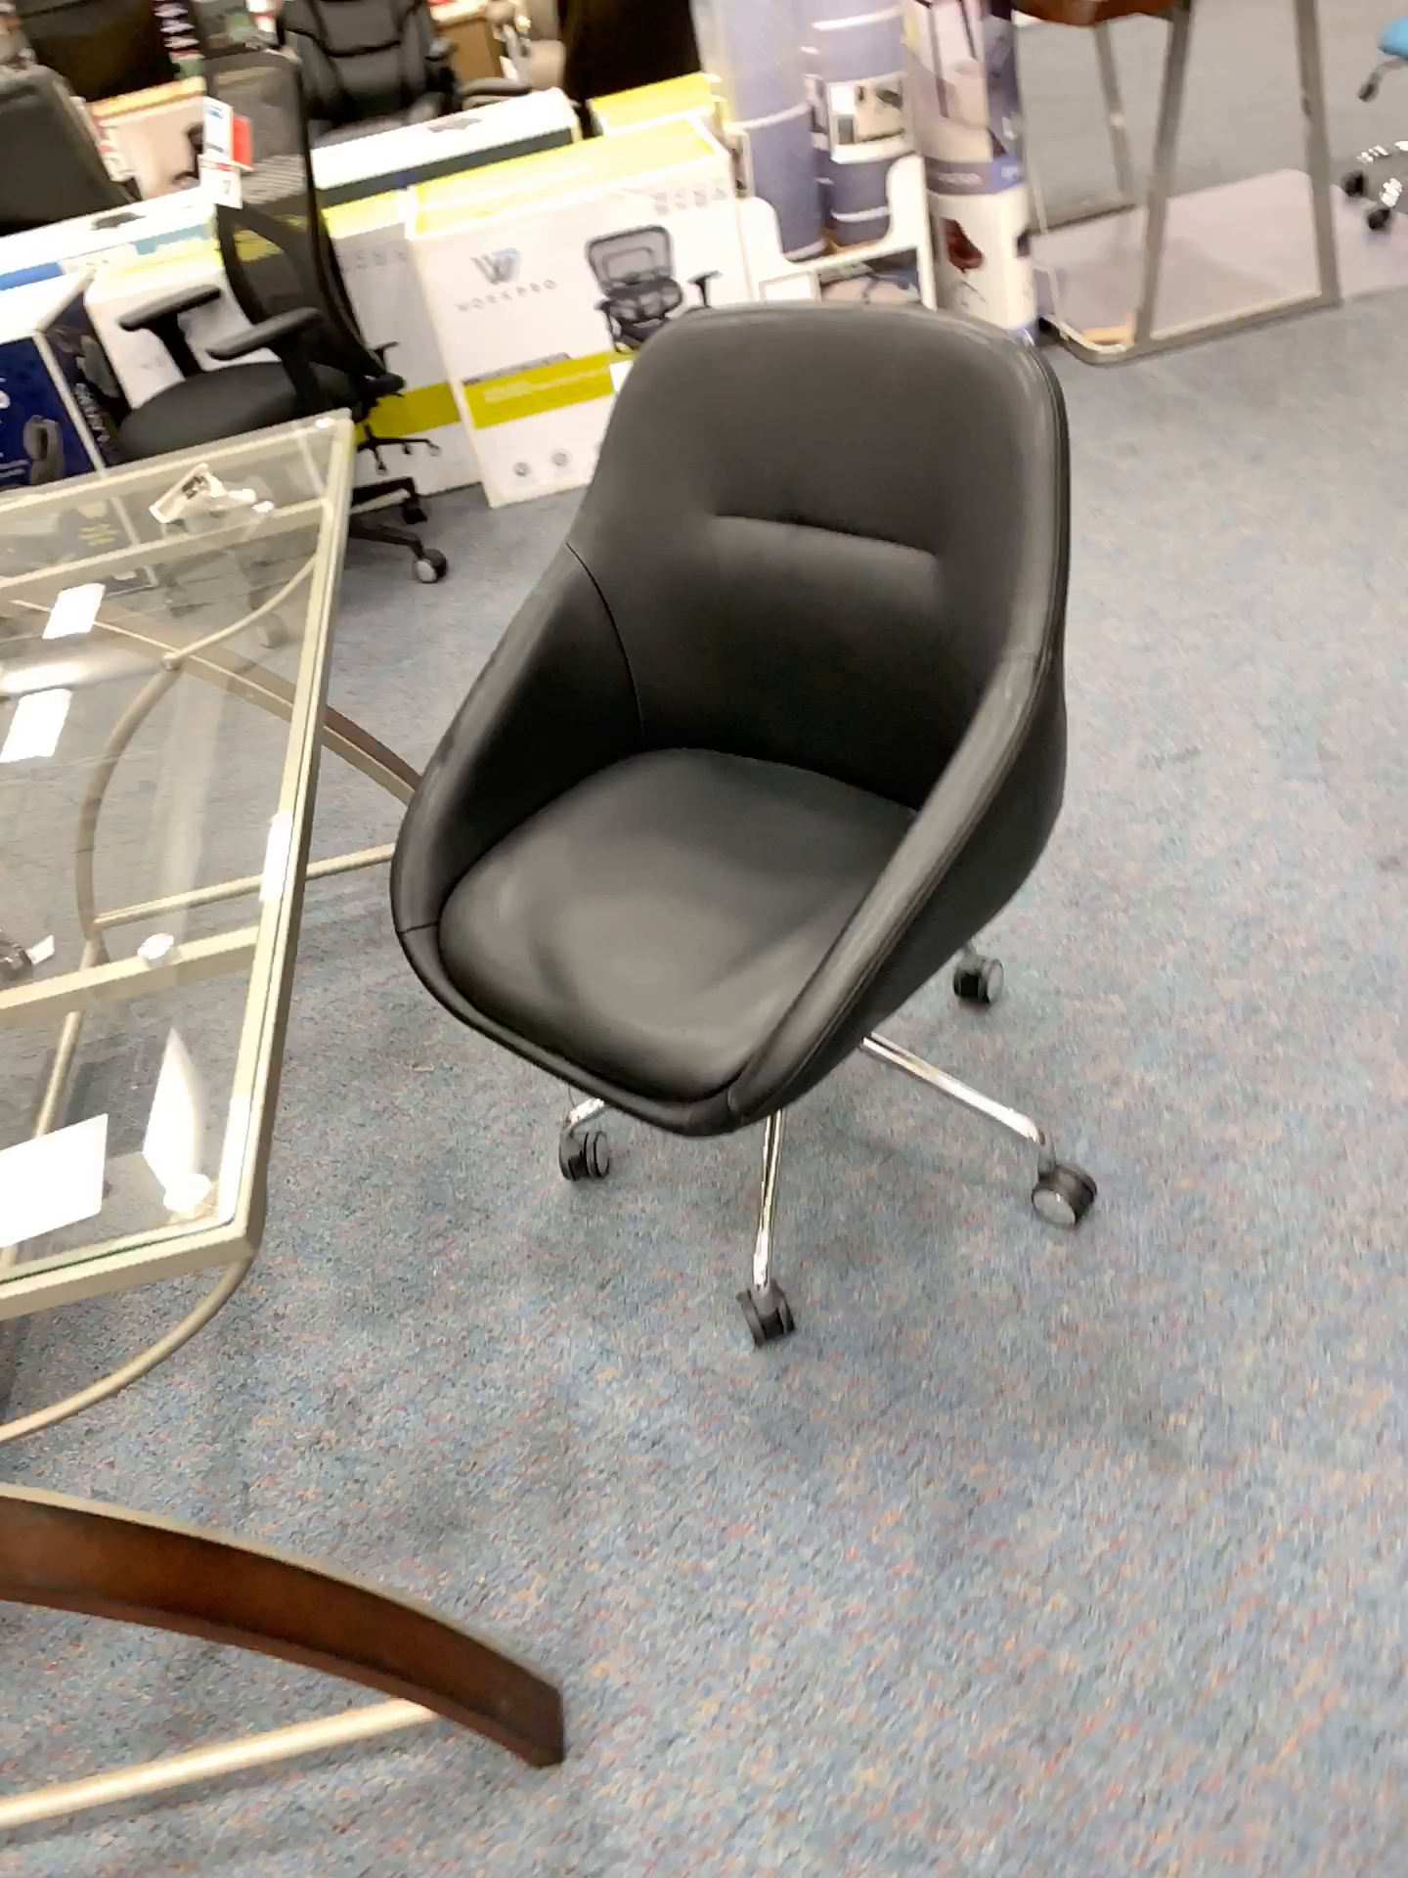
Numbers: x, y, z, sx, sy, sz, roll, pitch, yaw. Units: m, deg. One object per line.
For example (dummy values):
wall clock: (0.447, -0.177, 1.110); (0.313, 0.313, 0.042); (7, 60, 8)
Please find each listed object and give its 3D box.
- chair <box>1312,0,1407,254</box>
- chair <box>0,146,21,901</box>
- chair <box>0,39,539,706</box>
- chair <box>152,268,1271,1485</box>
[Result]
chair: (2.009, -2.431, 3.671); (0.728, 0.833, 1.169); (2, 41, 19)
chair: (-2.136, -0.887, 2.973); (0.897, 1.062, 0.899); (-22, 39, -9)
chair: (-1.031, -1.252, 3.091); (0.825, 1.012, 0.821); (-29, 41, -18)
chair: (0.077, -0.106, 1.419); (0.659, 0.843, 0.655); (22, 51, 37)
